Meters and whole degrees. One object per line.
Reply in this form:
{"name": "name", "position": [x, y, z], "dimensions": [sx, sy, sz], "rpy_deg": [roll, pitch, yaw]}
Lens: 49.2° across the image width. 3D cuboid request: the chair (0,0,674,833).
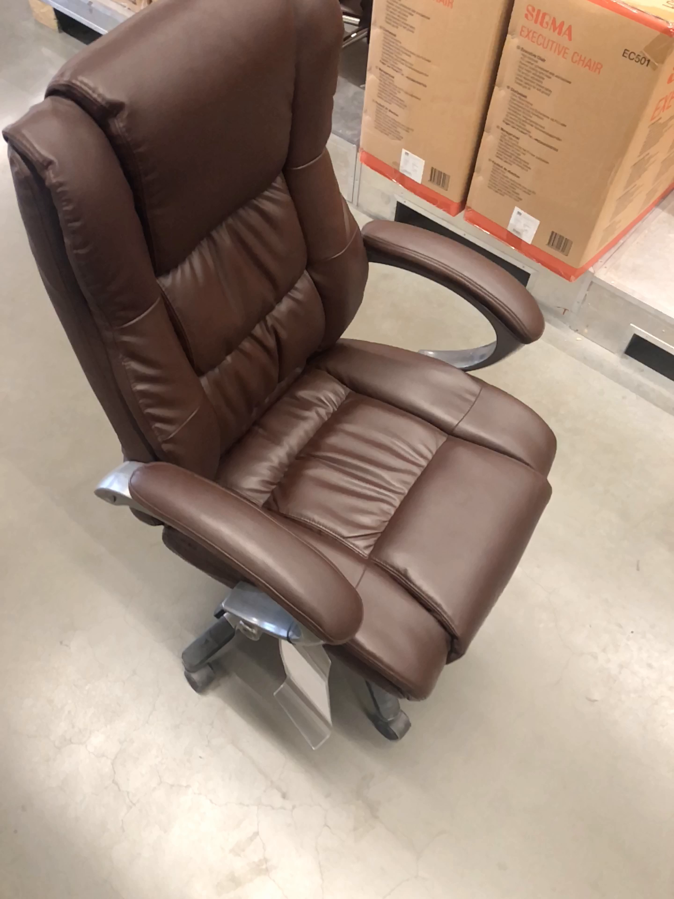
{"name": "chair", "position": [0.011, -0.024, 1.105], "dimensions": [0.651, 1.094, 0.683], "rpy_deg": [30, 59, 16]}
